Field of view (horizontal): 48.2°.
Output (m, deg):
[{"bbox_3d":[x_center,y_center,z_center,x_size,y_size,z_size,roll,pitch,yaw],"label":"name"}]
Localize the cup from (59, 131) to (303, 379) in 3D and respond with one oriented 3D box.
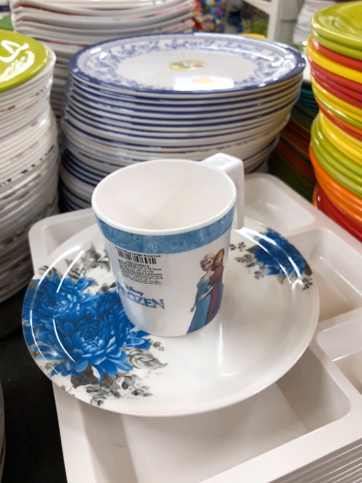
[{"bbox_3d":[0.002,0.000,0.252,0.111,0.089,0.080,-28,45,-32],"label":"cup"}]
